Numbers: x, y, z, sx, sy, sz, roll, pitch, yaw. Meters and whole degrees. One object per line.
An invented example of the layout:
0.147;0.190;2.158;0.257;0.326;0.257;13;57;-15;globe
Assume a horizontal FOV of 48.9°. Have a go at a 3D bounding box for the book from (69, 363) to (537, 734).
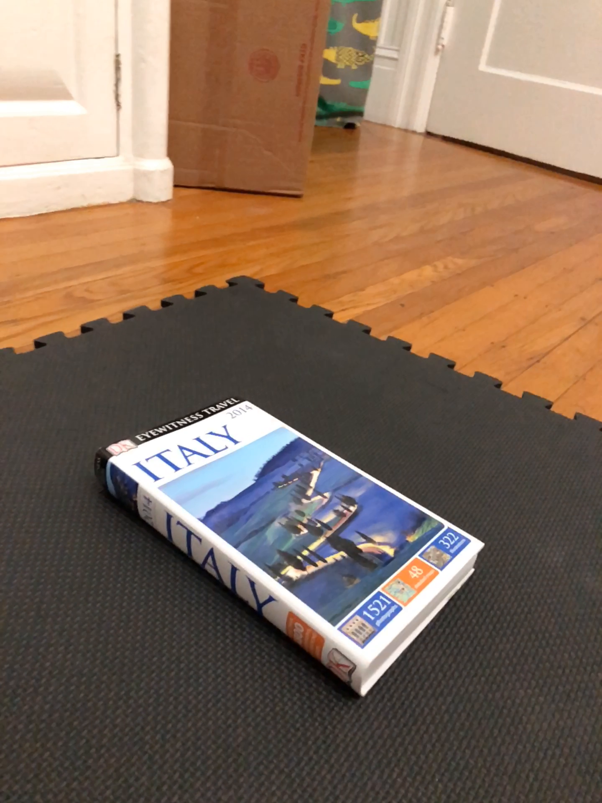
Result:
-0.003;0.064;0.425;0.250;0.040;0.161;28;36;29;book
